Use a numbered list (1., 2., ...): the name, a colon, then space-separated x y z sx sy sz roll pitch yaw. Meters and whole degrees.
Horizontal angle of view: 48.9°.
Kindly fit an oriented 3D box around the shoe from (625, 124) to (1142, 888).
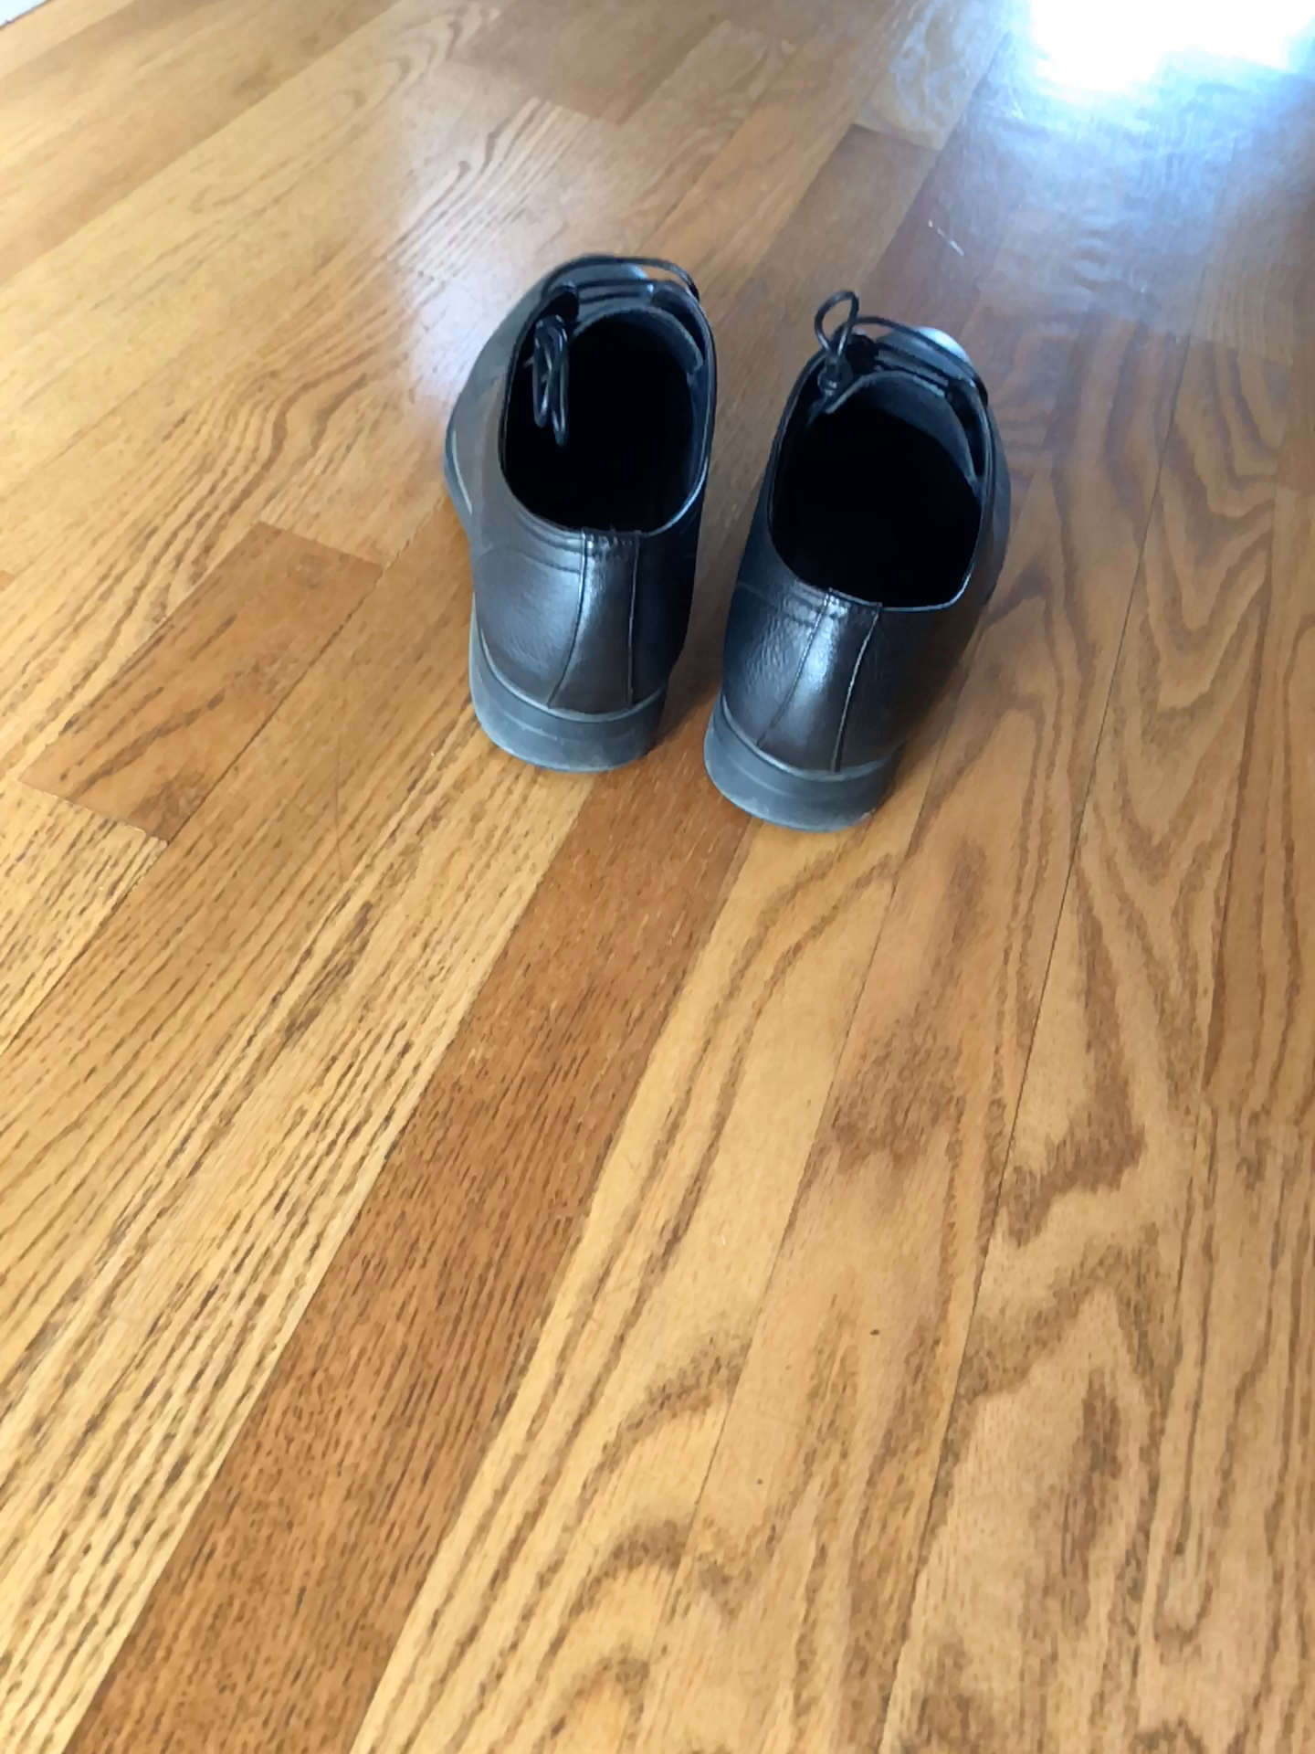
1. shoe: 0.096 -0.159 0.564 0.110 0.123 0.300 20 50 5

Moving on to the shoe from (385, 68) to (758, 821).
1. shoe: -0.030 -0.183 0.575 0.110 0.123 0.305 7 50 -6
